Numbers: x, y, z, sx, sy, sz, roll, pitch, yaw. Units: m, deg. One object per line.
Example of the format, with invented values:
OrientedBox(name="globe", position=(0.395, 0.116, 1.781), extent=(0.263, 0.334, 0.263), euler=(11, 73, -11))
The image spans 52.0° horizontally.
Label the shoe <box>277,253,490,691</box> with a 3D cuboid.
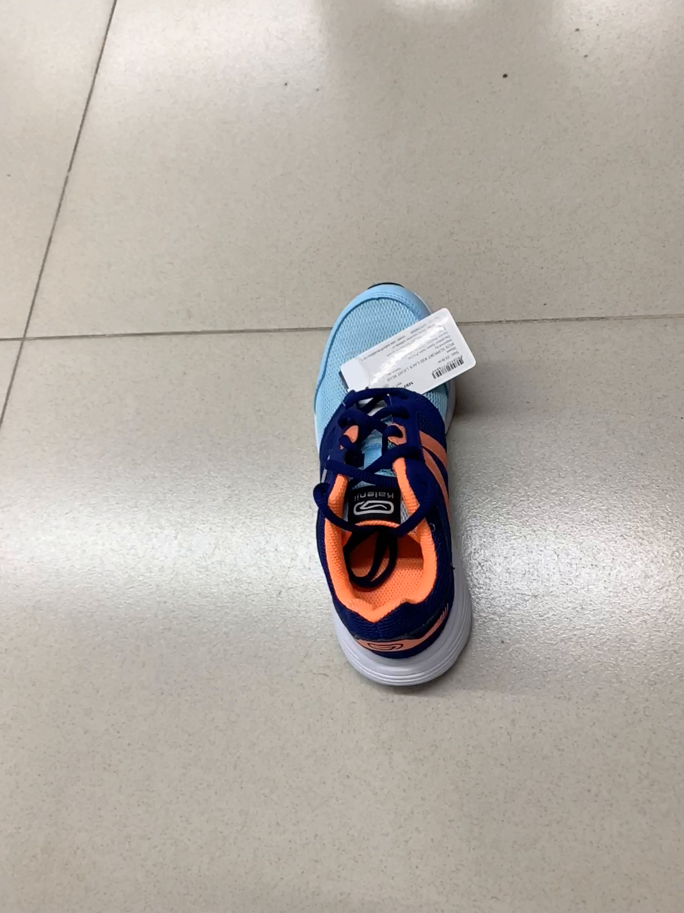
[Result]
OrientedBox(name="shoe", position=(0.022, 0.011, 0.421), extent=(0.100, 0.080, 0.240), euler=(-7, 69, 13))
